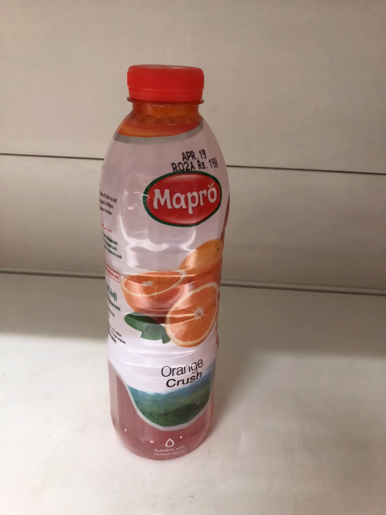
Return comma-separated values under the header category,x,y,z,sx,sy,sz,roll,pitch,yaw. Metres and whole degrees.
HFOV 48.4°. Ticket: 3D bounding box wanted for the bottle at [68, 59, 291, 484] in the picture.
category,x,y,z,sx,sy,sz,roll,pitch,yaw
bottle,-0.016,0.011,0.267,0.090,0.239,0.080,-8,27,-21
